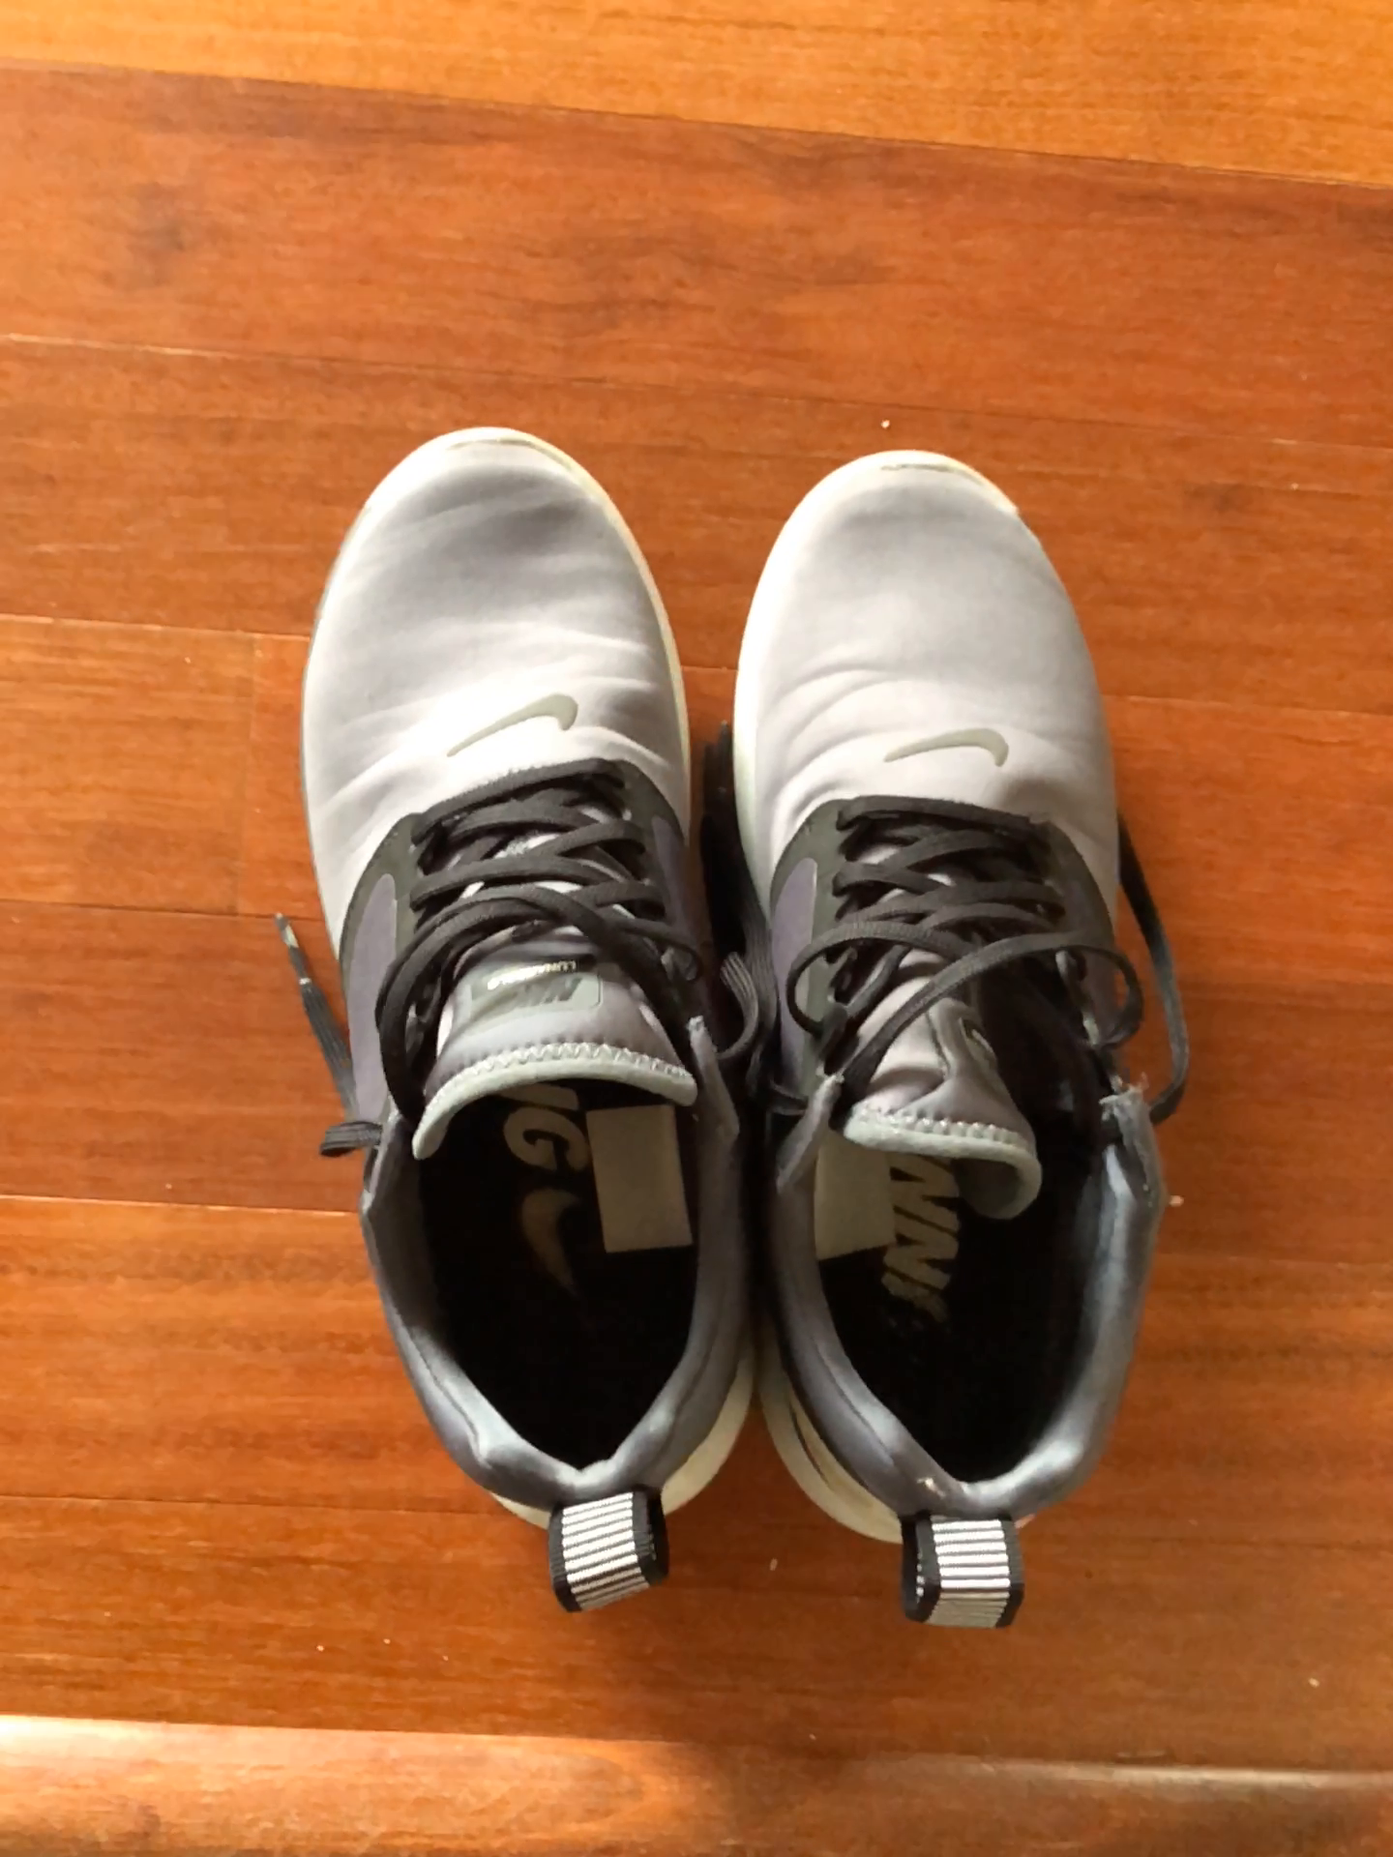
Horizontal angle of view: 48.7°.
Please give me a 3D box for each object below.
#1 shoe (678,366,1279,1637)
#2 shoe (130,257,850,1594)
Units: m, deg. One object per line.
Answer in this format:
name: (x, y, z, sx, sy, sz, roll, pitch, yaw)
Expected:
shoe: (0.055, 0.015, 0.344, 0.110, 0.100, 0.240, 1, 87, -2)
shoe: (-0.041, -0.002, 0.338, 0.110, 0.100, 0.240, -6, 87, -3)
